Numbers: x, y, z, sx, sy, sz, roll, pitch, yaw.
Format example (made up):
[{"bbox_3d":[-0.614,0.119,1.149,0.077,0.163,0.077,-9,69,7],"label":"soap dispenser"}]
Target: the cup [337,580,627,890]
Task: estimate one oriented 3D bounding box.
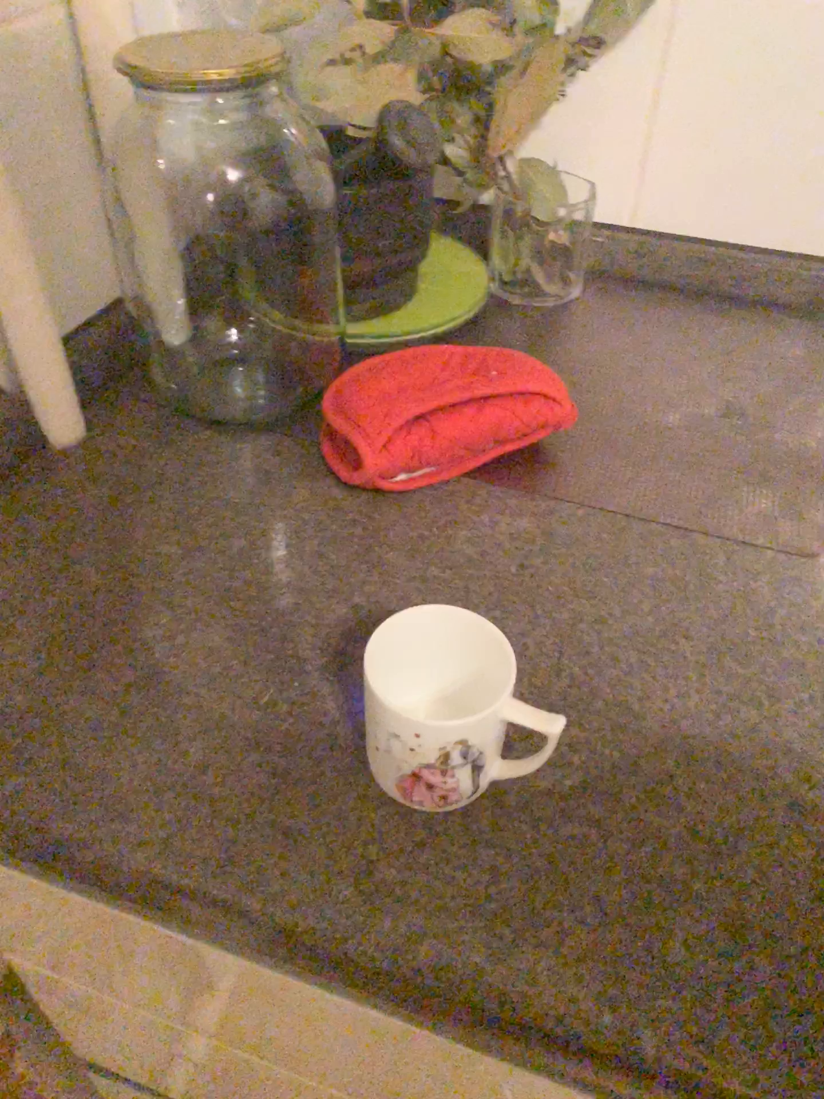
[{"bbox_3d":[0.026,0.071,0.334,0.090,0.069,0.060,21,46,21],"label":"cup"}]
